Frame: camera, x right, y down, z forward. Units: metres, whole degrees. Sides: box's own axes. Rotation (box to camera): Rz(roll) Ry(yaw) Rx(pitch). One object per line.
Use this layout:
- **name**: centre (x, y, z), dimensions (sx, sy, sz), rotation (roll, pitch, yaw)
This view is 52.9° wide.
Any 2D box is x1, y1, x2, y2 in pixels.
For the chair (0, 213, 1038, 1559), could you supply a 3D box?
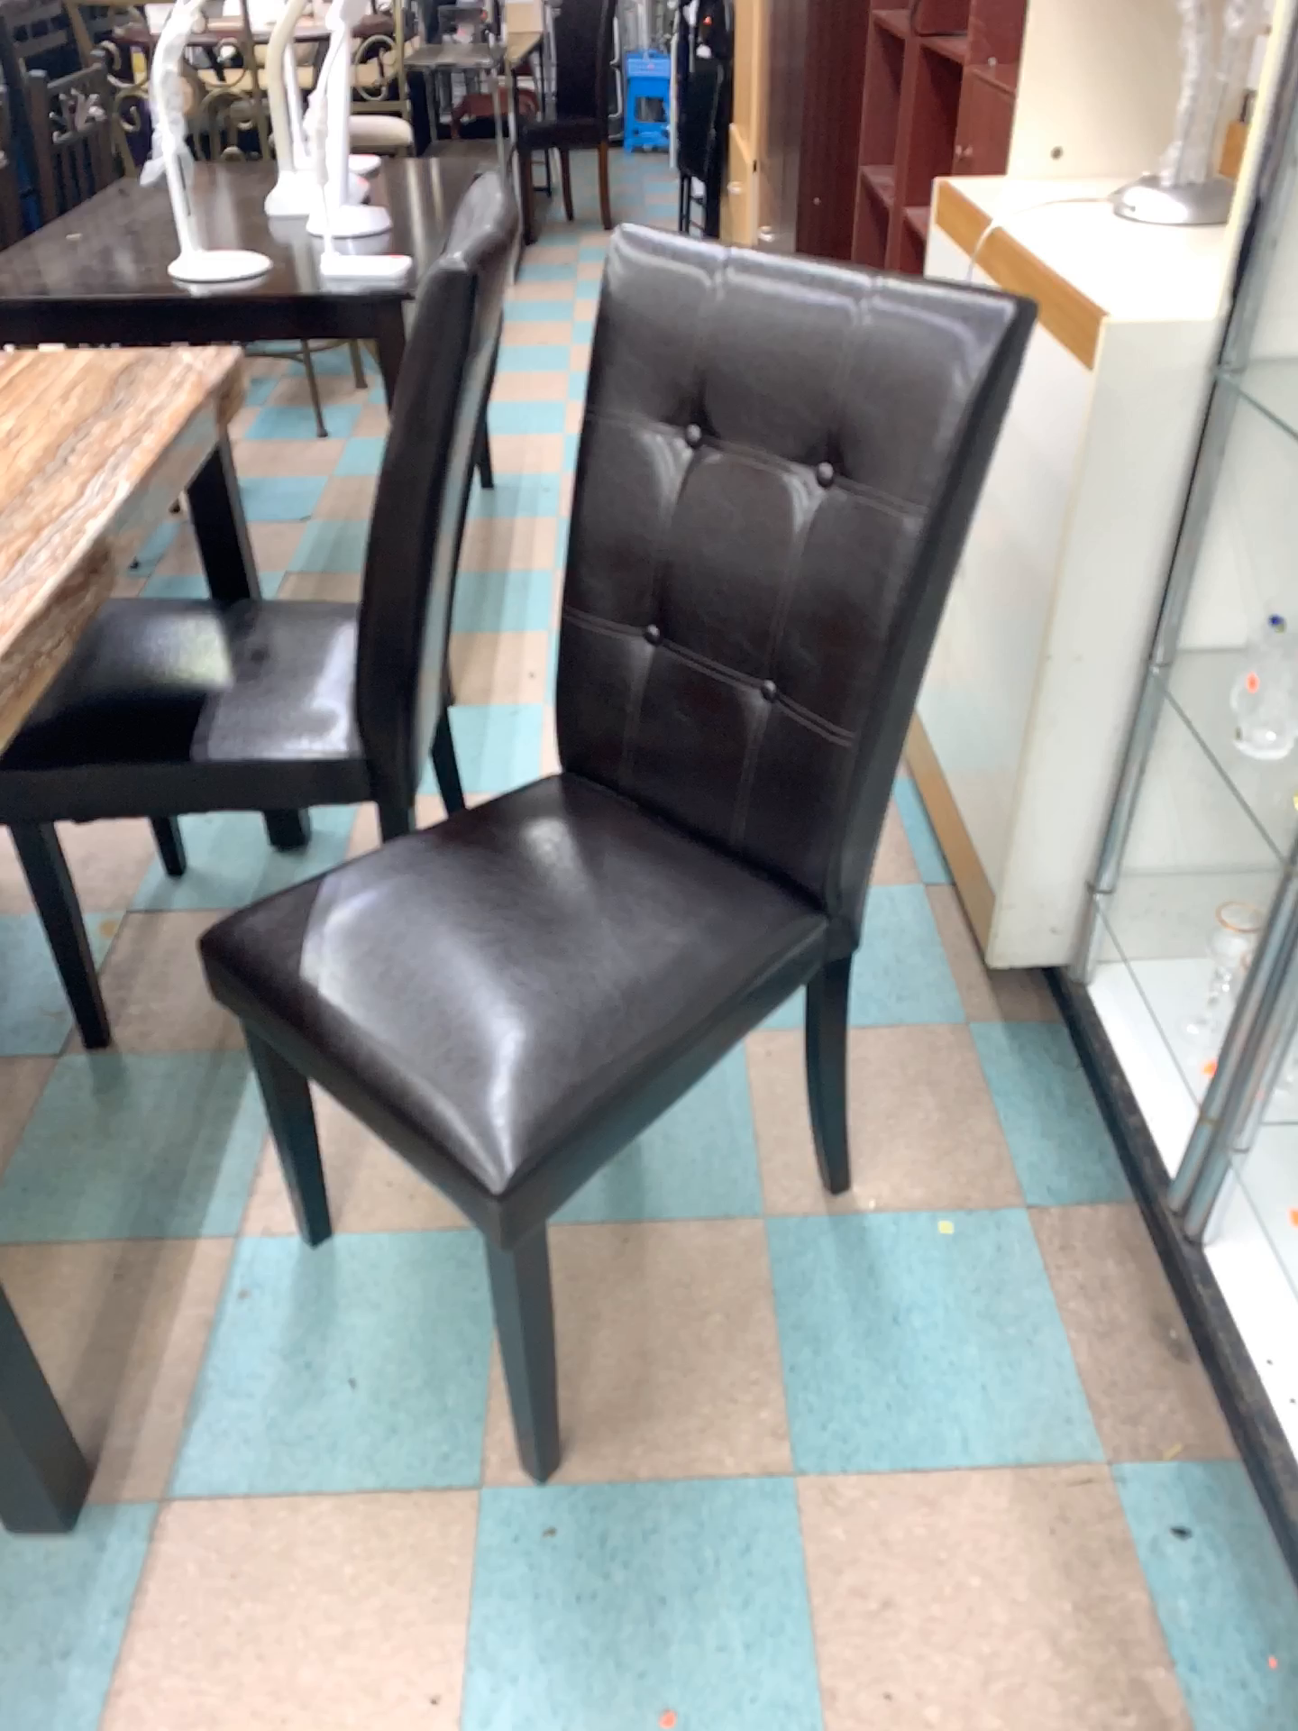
- **chair**: centre (-0.084, 0.010, 1.168), dimensions (0.555, 0.949, 0.486), rotation (-32, 45, -34)
